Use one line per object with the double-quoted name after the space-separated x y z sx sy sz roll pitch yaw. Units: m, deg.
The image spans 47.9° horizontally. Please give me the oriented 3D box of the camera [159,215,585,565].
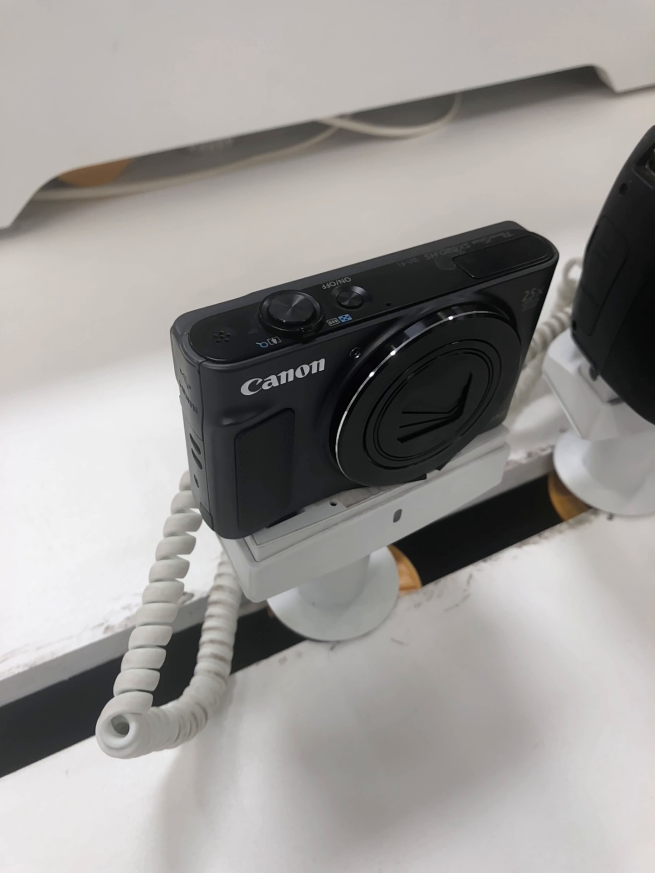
0.010 -0.012 0.180 0.093 0.057 0.025 -22 55 -22 "camera"
